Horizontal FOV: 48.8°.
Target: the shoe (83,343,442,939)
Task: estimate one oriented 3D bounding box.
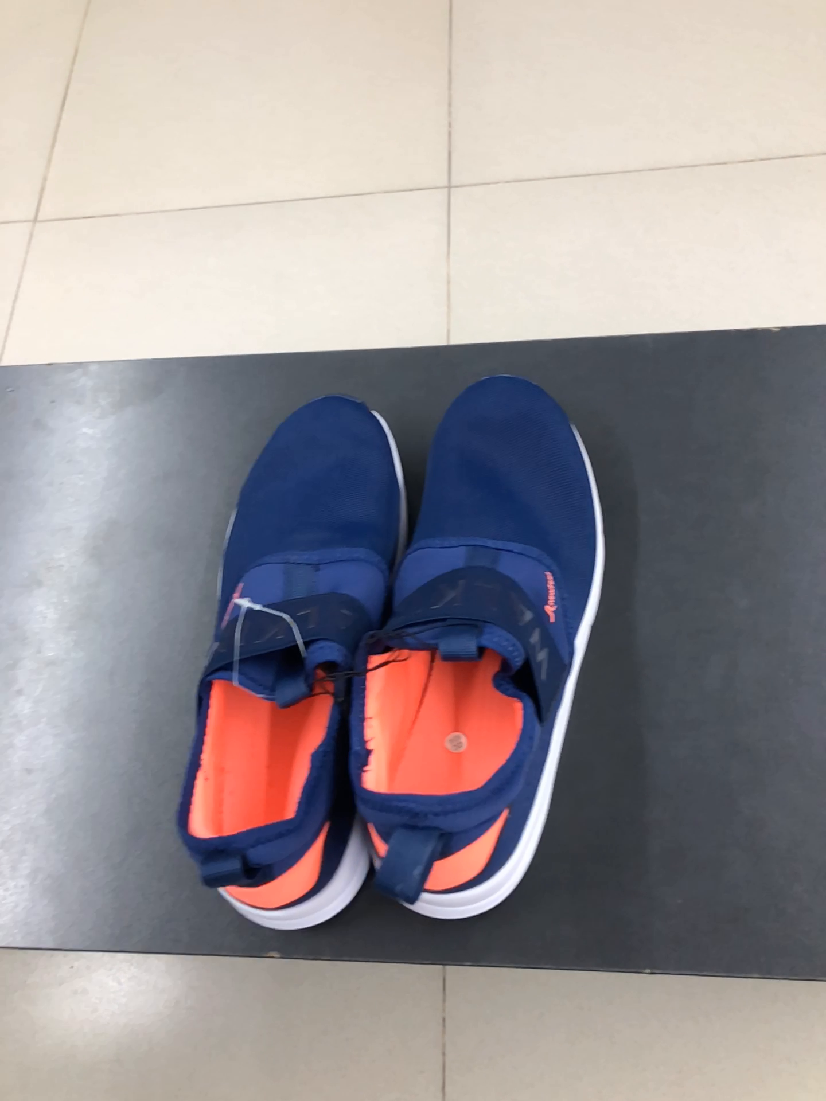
[{"bbox_3d":[-0.054,0.043,0.444,0.110,0.120,0.261,1,66,8],"label":"shoe"}]

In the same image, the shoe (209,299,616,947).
[{"bbox_3d":[0.019,0.029,0.390,0.110,0.120,0.241,4,66,16],"label":"shoe"}]
